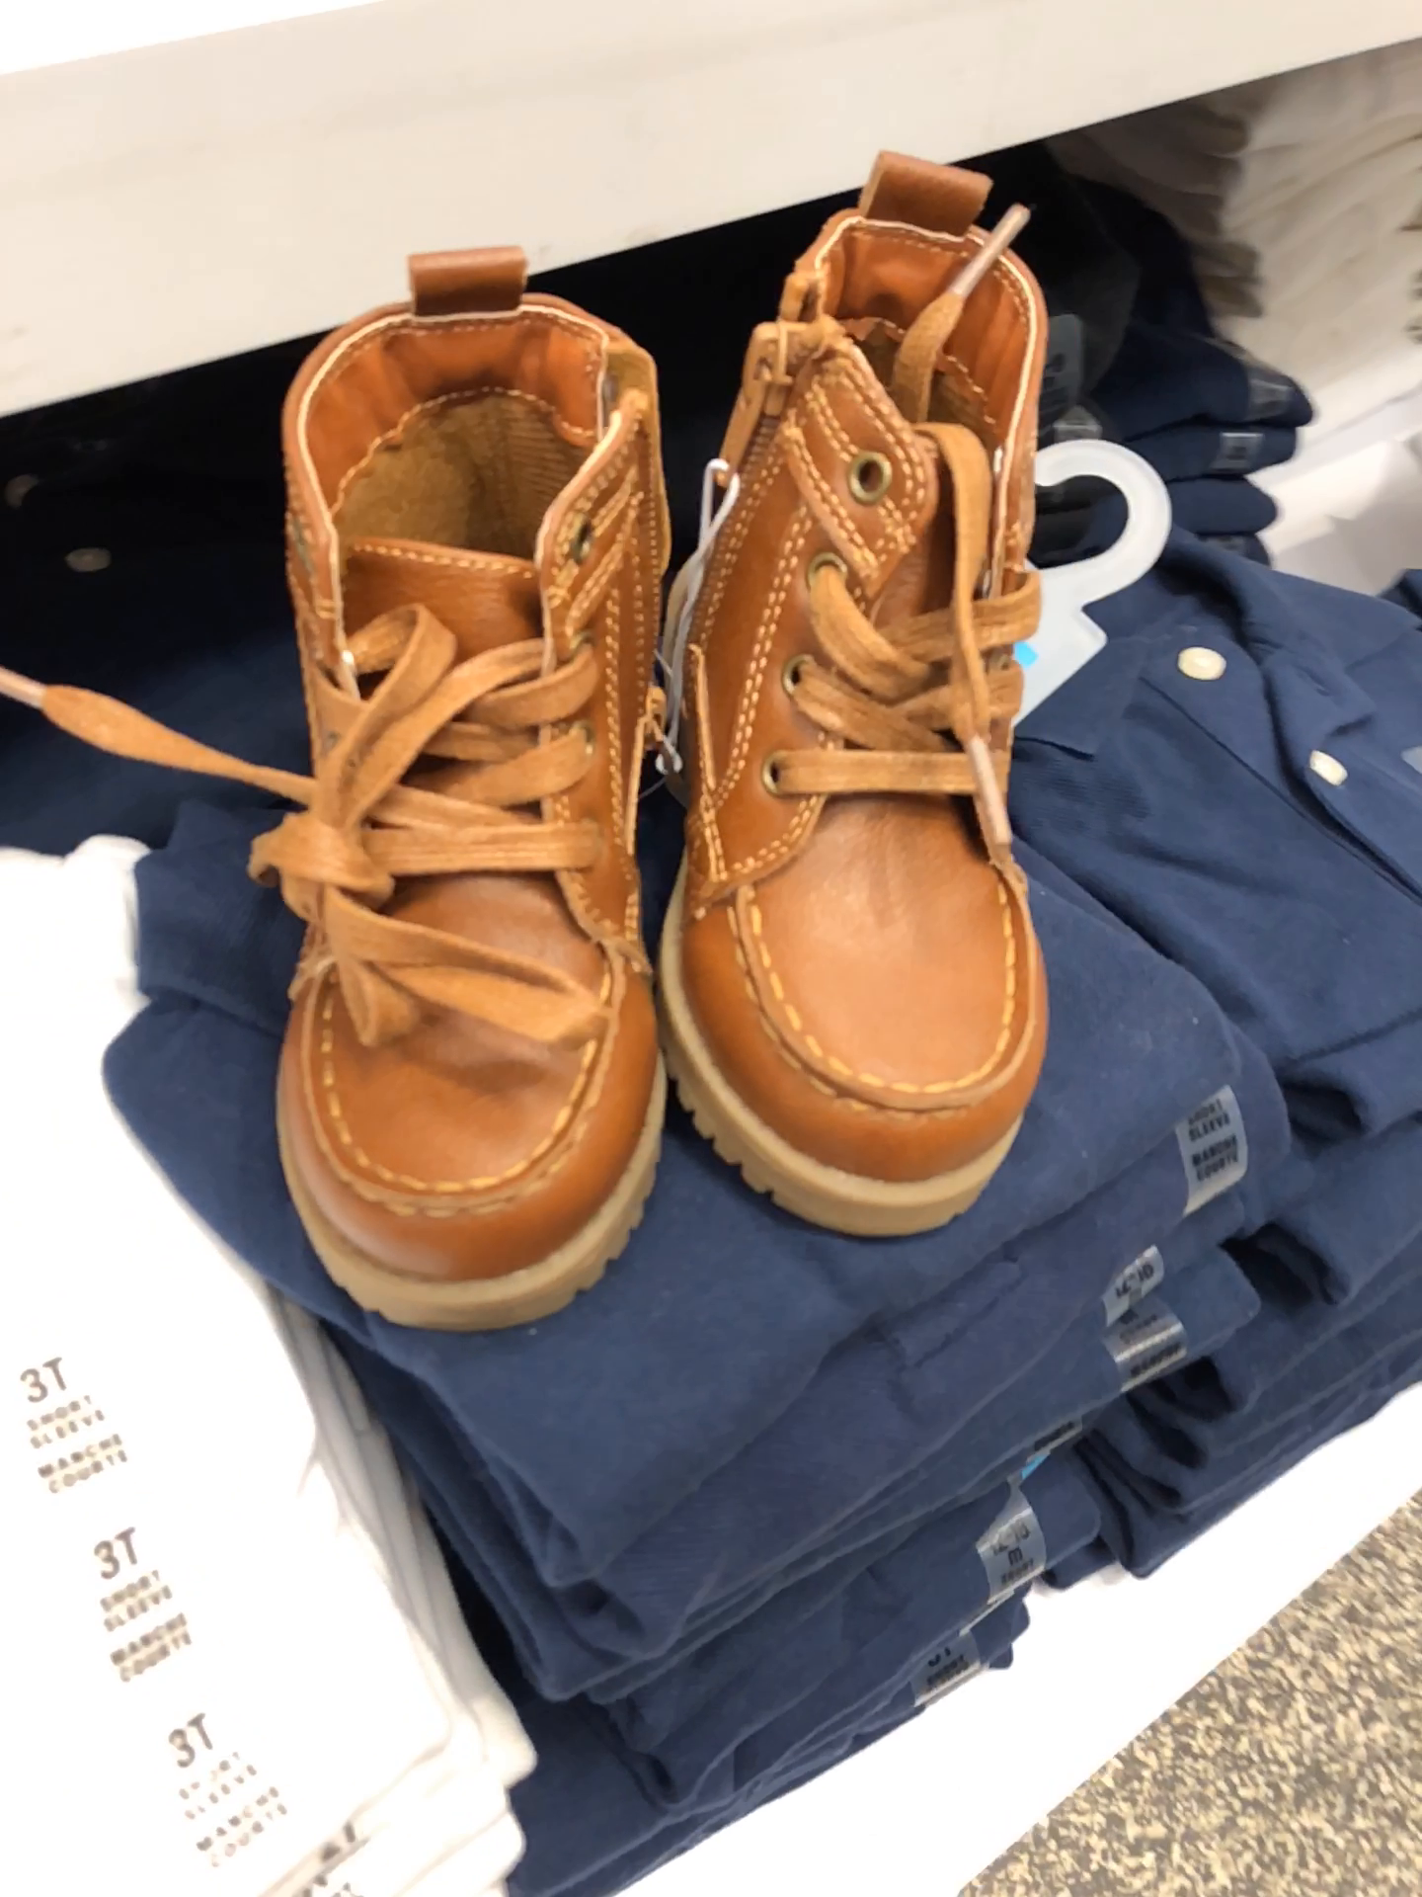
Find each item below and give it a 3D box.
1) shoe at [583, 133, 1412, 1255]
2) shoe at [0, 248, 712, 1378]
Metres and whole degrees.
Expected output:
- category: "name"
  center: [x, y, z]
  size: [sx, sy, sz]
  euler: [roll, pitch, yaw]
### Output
- category: "shoe"
  center: [0.028, -0.045, 0.269]
  size: [0.080, 0.101, 0.161]
  euler: [0, 52, -11]
- category: "shoe"
  center: [-0.042, -0.024, 0.252]
  size: [0.080, 0.101, 0.151]
  euler: [1, 52, 1]
